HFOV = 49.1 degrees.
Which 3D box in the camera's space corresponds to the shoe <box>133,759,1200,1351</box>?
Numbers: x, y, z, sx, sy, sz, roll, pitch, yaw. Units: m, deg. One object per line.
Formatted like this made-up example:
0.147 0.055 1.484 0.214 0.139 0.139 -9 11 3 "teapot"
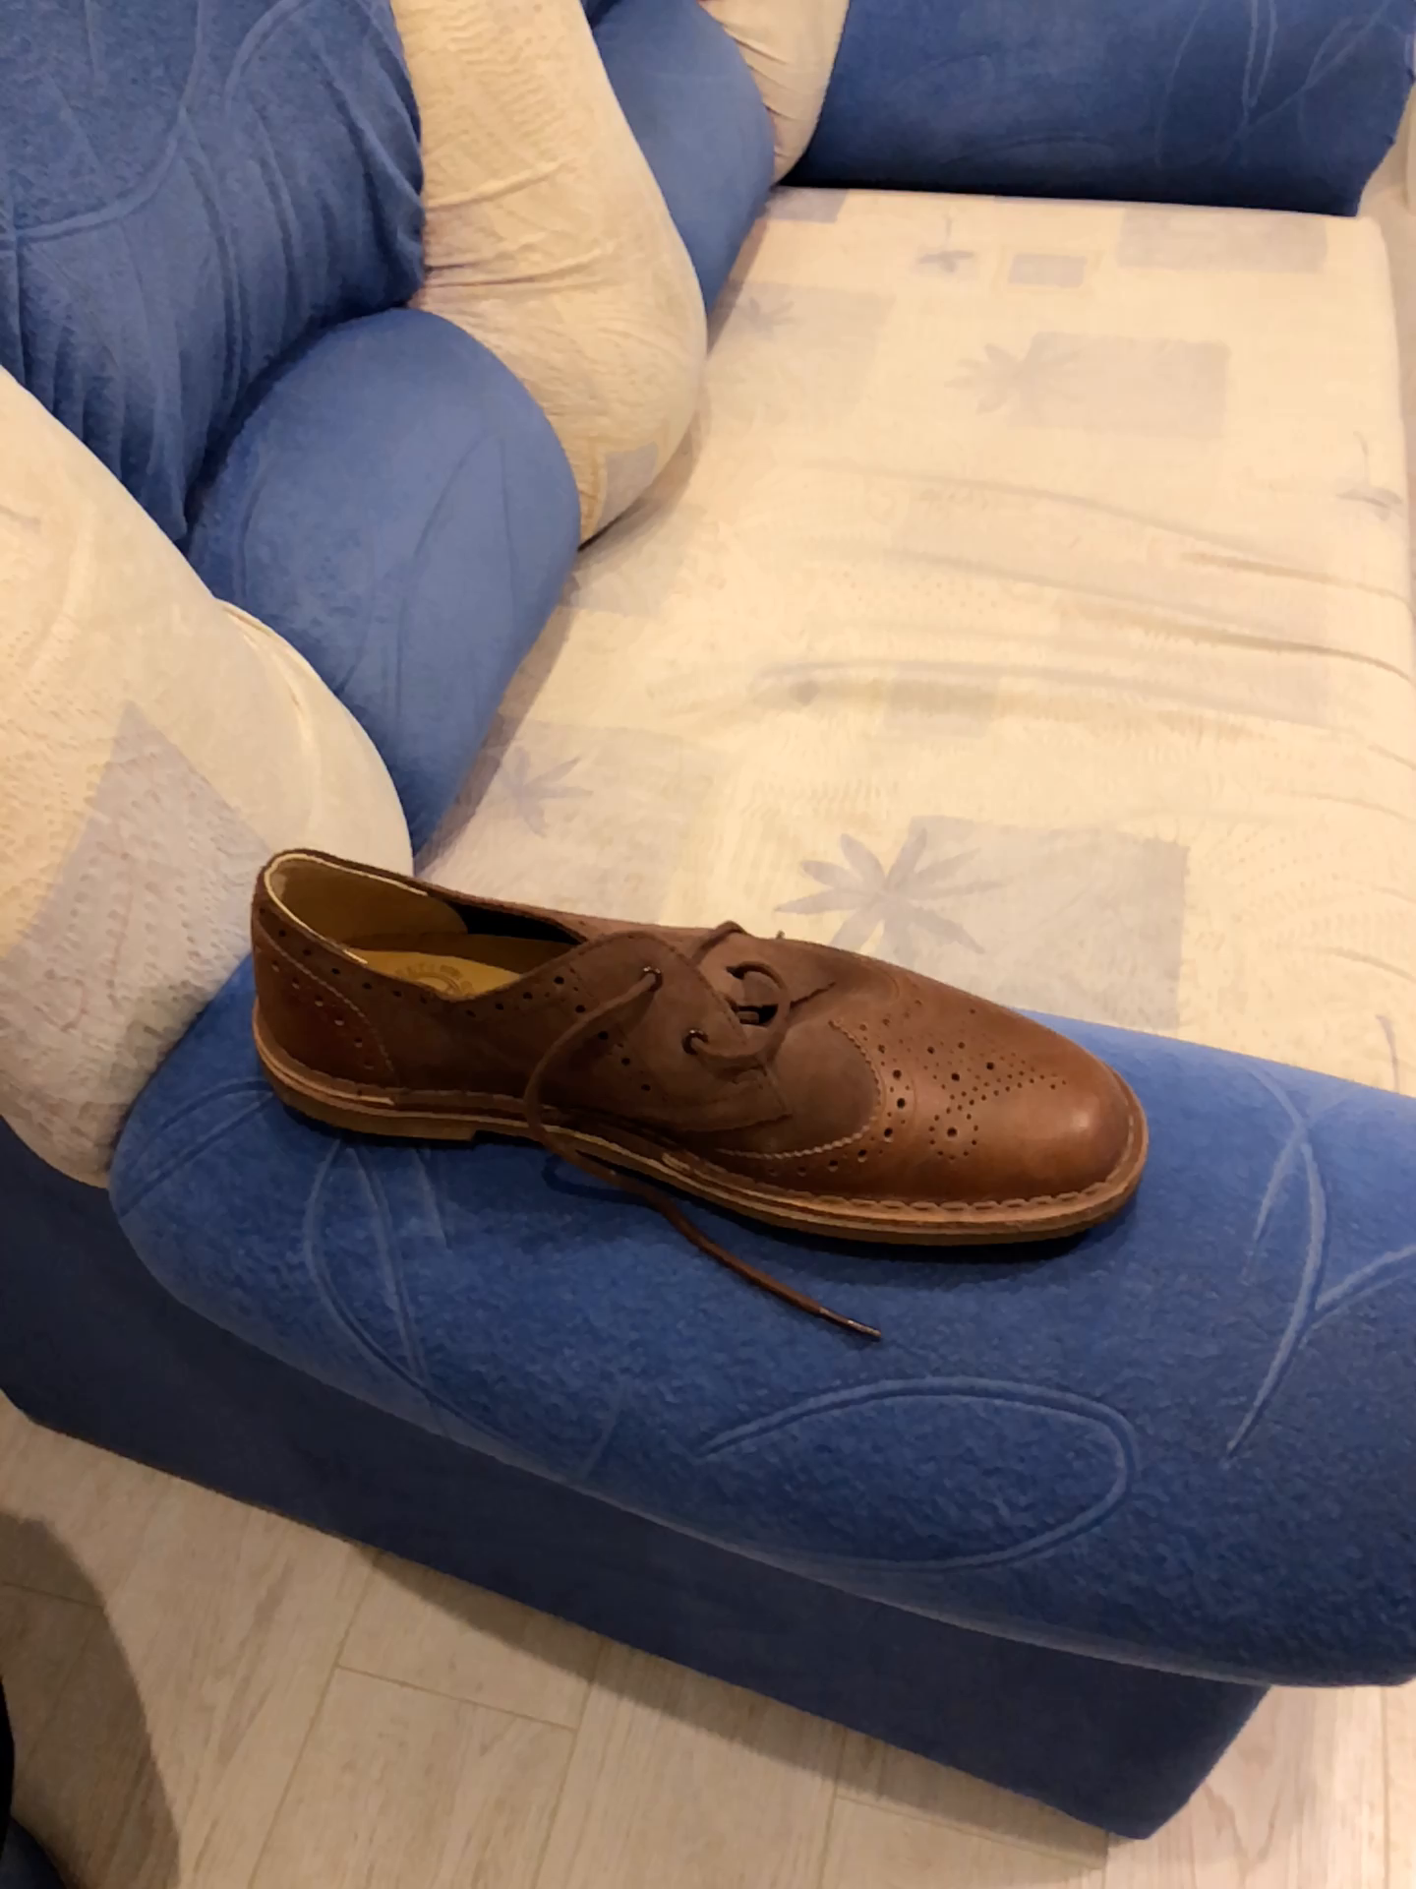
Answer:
-0.009 0.031 0.514 0.313 0.089 0.114 9 49 10 "shoe"
